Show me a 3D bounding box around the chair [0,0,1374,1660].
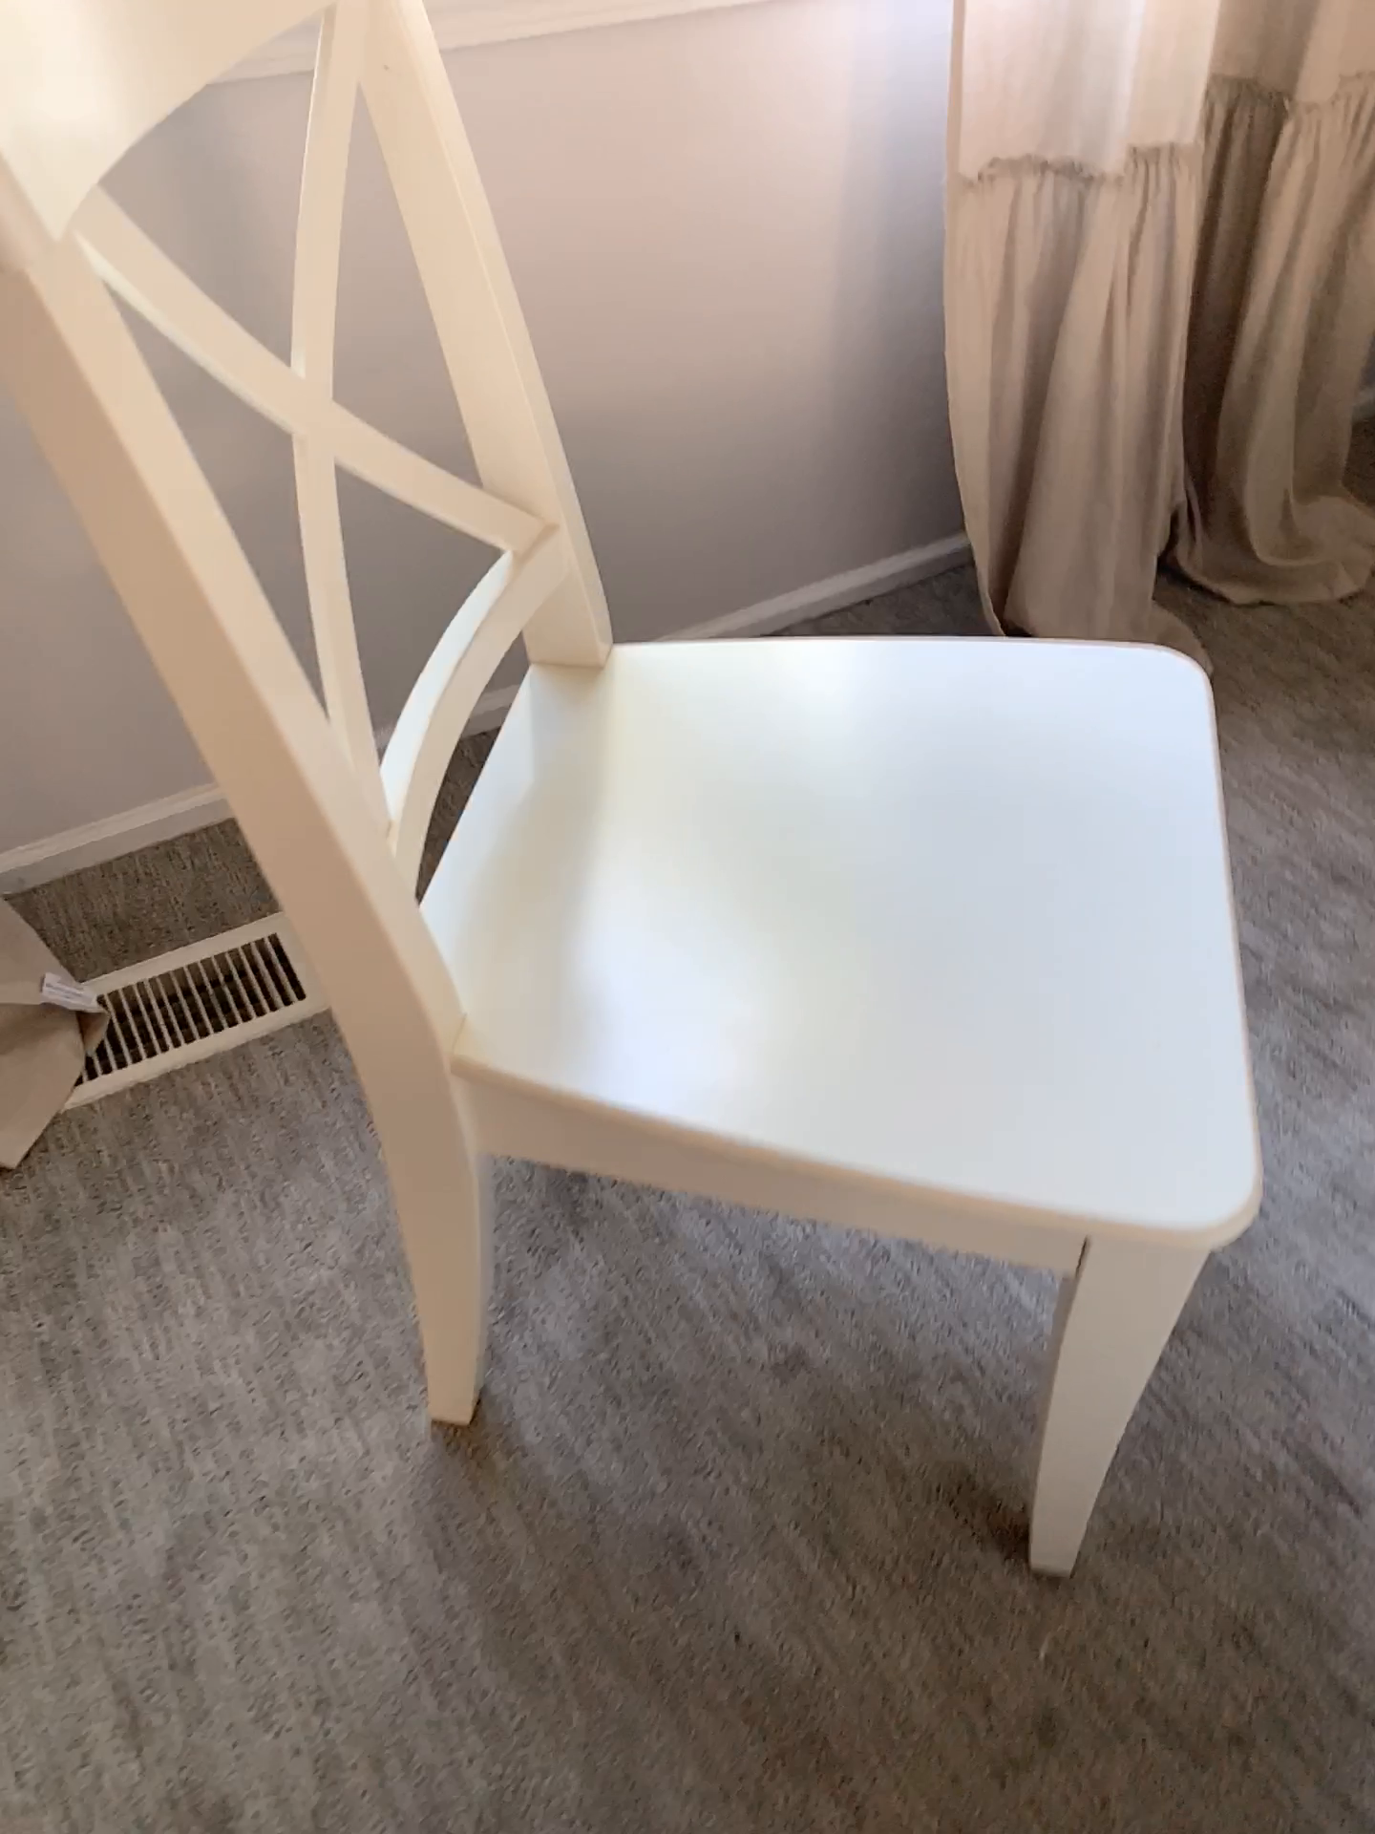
[{"bbox_3d":[0.063,-0.112,0.710,0.480,0.855,0.573,7,47,9],"label":"chair"}]
